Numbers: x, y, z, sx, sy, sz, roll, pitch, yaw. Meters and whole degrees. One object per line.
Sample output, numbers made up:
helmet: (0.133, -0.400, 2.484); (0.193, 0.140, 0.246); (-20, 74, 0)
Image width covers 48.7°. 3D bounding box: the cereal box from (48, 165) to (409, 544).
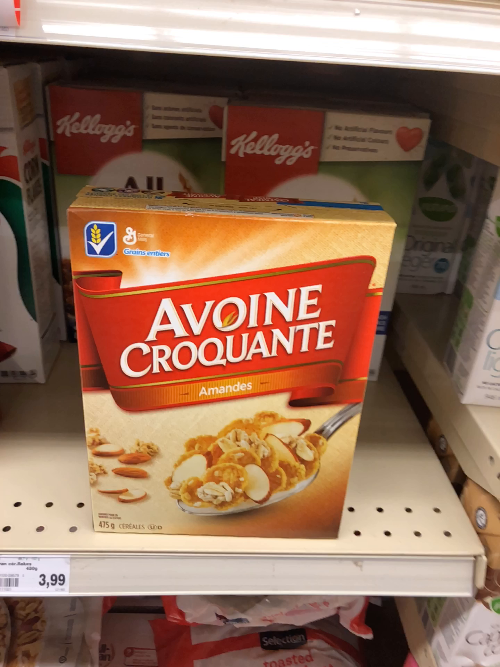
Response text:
cereal box: (-0.020, 0.029, 0.396); (0.200, 0.268, 0.060); (3, 28, -3)
